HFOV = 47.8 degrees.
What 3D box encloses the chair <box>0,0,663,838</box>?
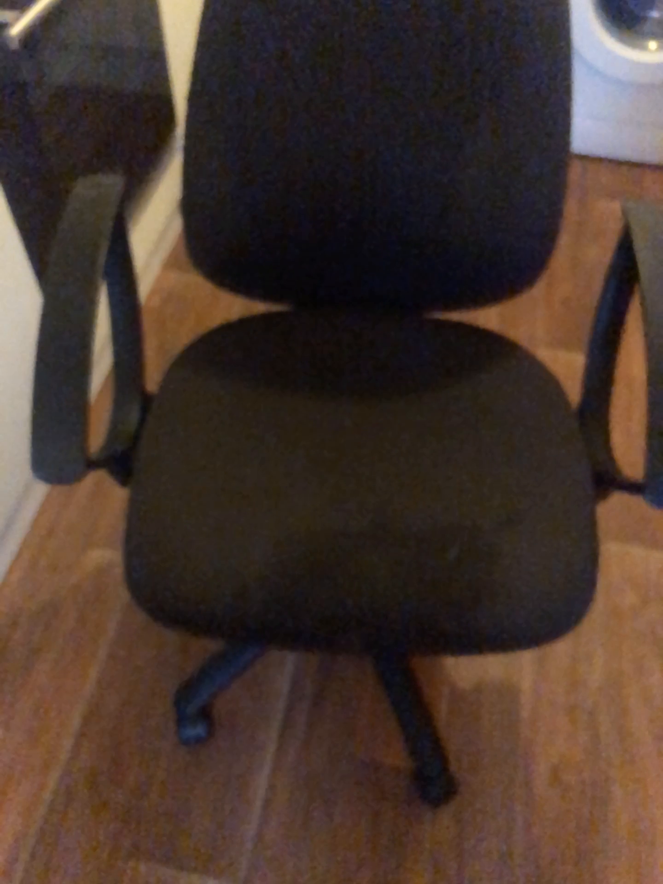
[{"bbox_3d":[0.041,-0.089,0.936,0.685,0.757,0.878,4,53,1],"label":"chair"}]
